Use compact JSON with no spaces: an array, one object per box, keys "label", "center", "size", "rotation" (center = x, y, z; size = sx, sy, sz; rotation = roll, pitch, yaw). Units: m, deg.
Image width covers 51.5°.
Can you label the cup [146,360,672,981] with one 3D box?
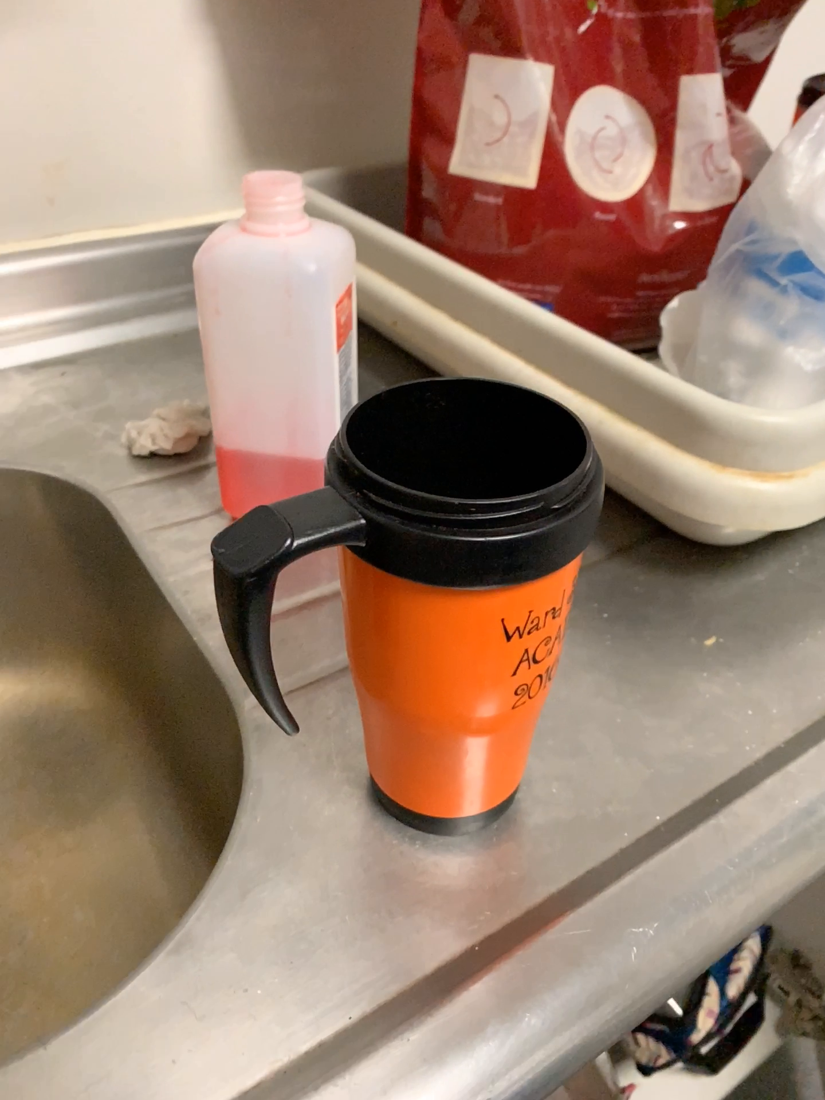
[{"label":"cup","center":[-0.002,0.039,0.310],"size":[0.135,0.164,0.090],"rotation":[-22,43,-29]}]
